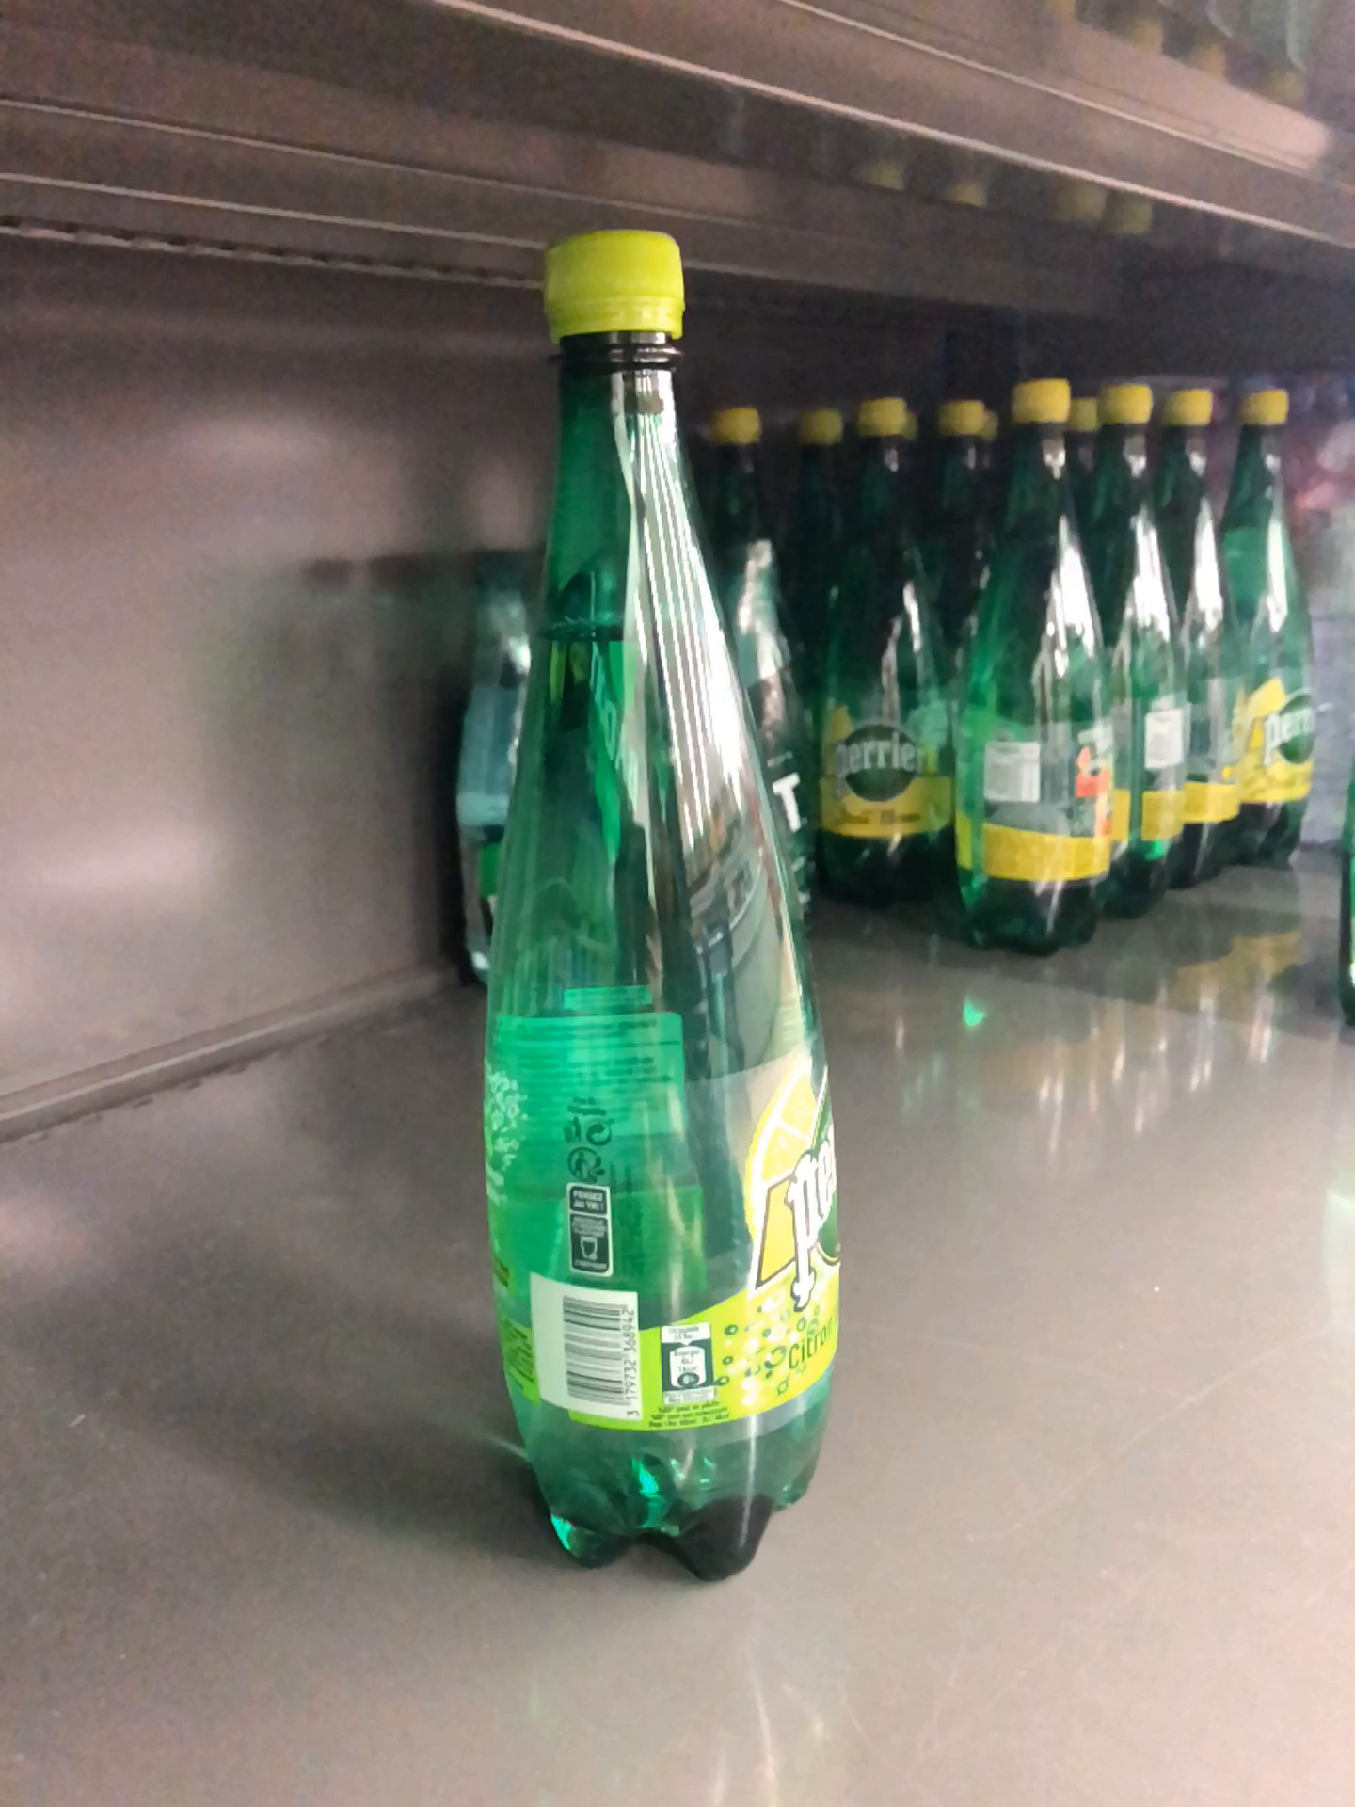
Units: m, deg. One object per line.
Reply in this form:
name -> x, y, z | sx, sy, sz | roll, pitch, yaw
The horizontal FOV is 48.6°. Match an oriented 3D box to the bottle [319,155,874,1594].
bottle -> -0.006, -0.002, 0.362 | 0.090, 0.299, 0.100 | 1, 14, 14
